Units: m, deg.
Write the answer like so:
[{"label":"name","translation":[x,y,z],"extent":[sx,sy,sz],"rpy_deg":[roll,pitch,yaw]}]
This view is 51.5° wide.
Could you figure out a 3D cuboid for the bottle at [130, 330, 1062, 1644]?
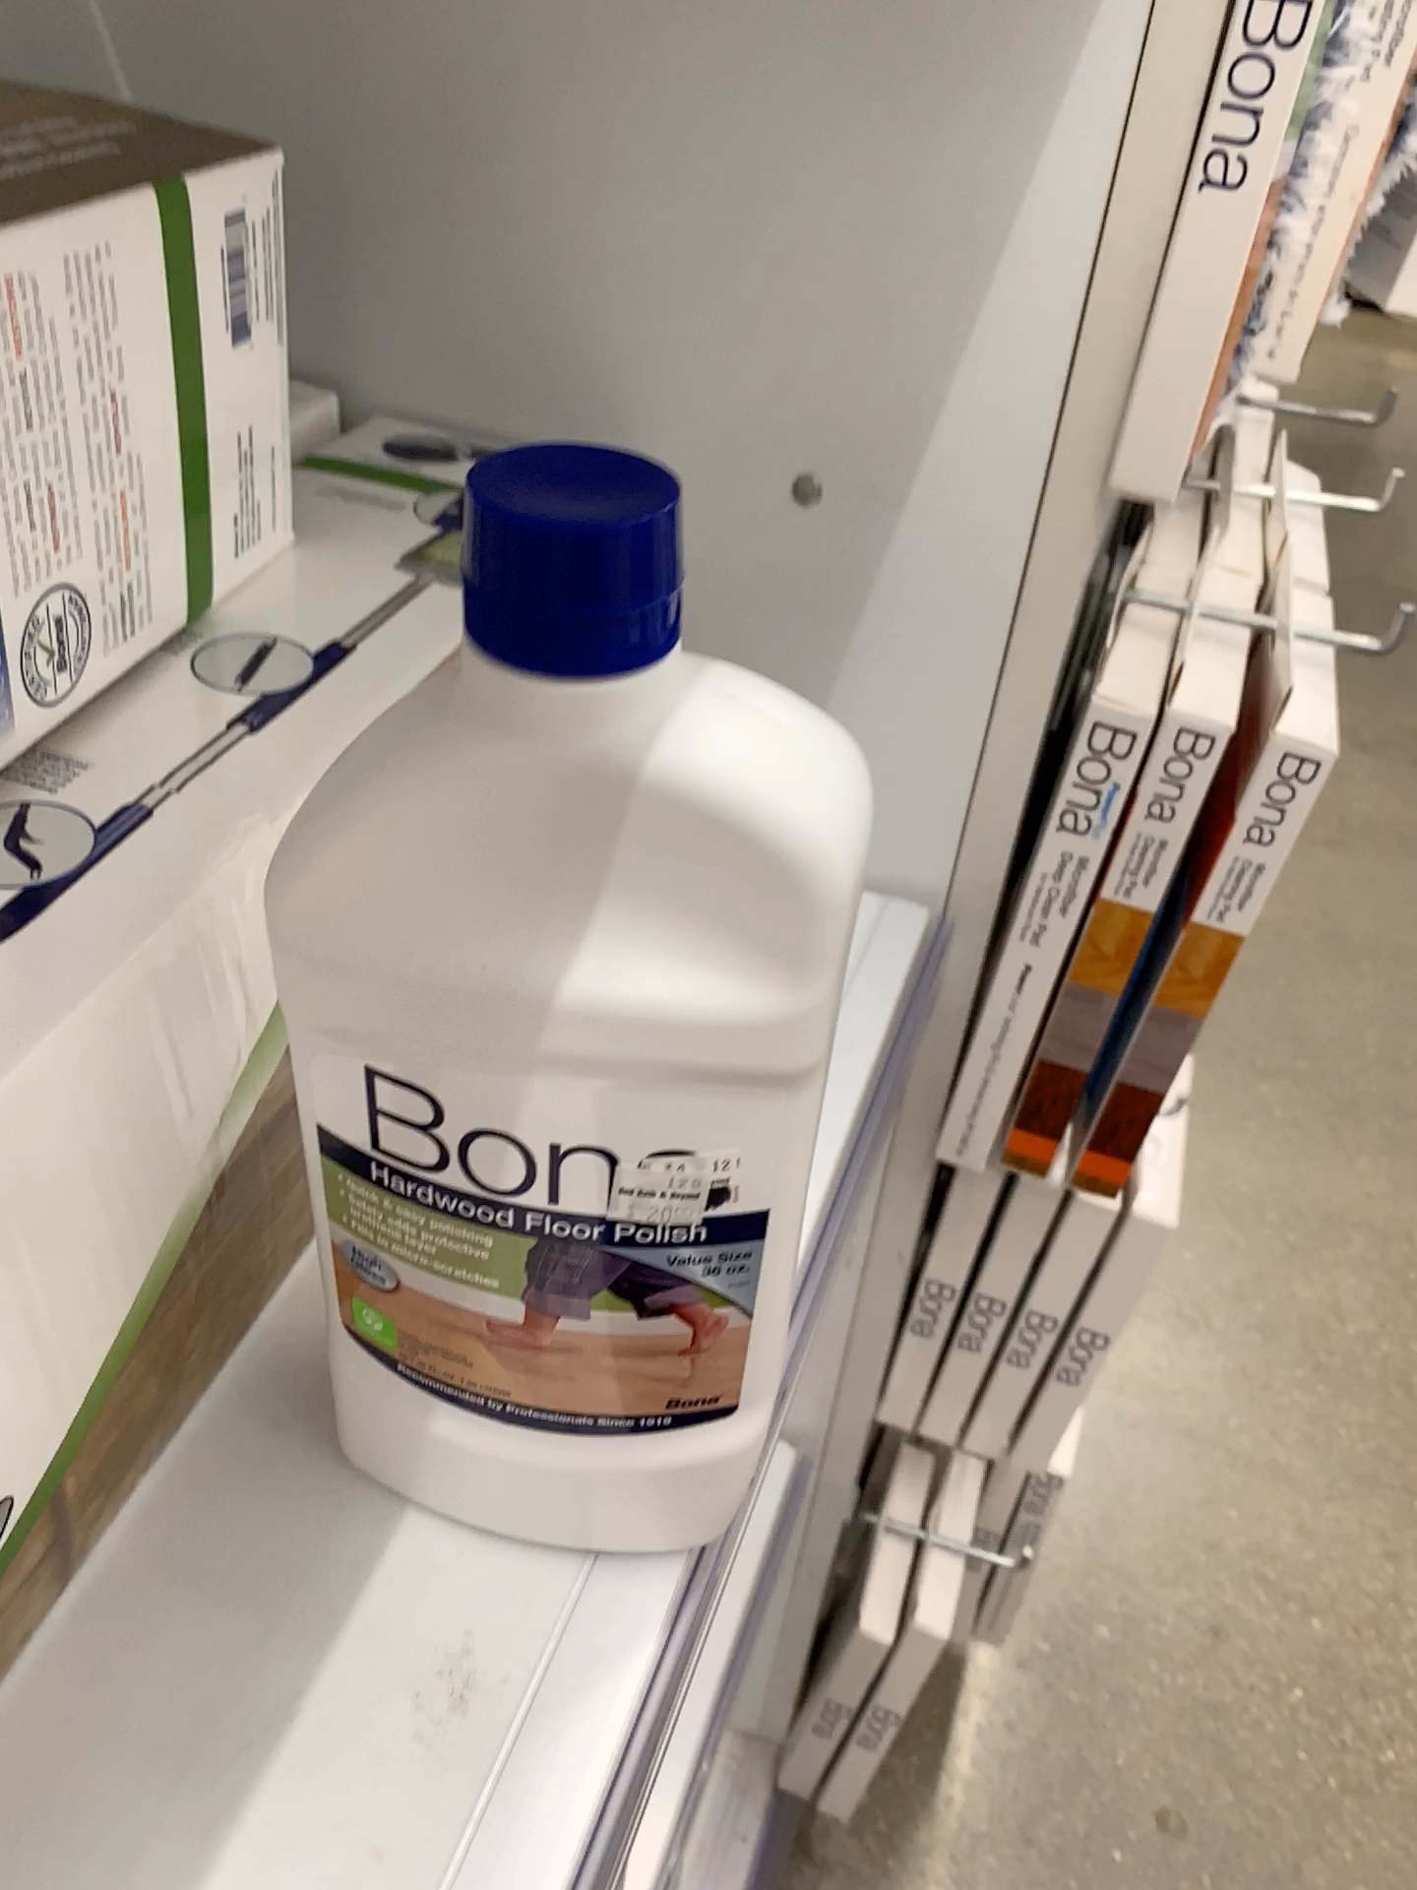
[{"label":"bottle","translation":[-0.022,0.030,0.293],"extent":[0.120,0.259,0.070],"rpy_deg":[10,38,3]}]
